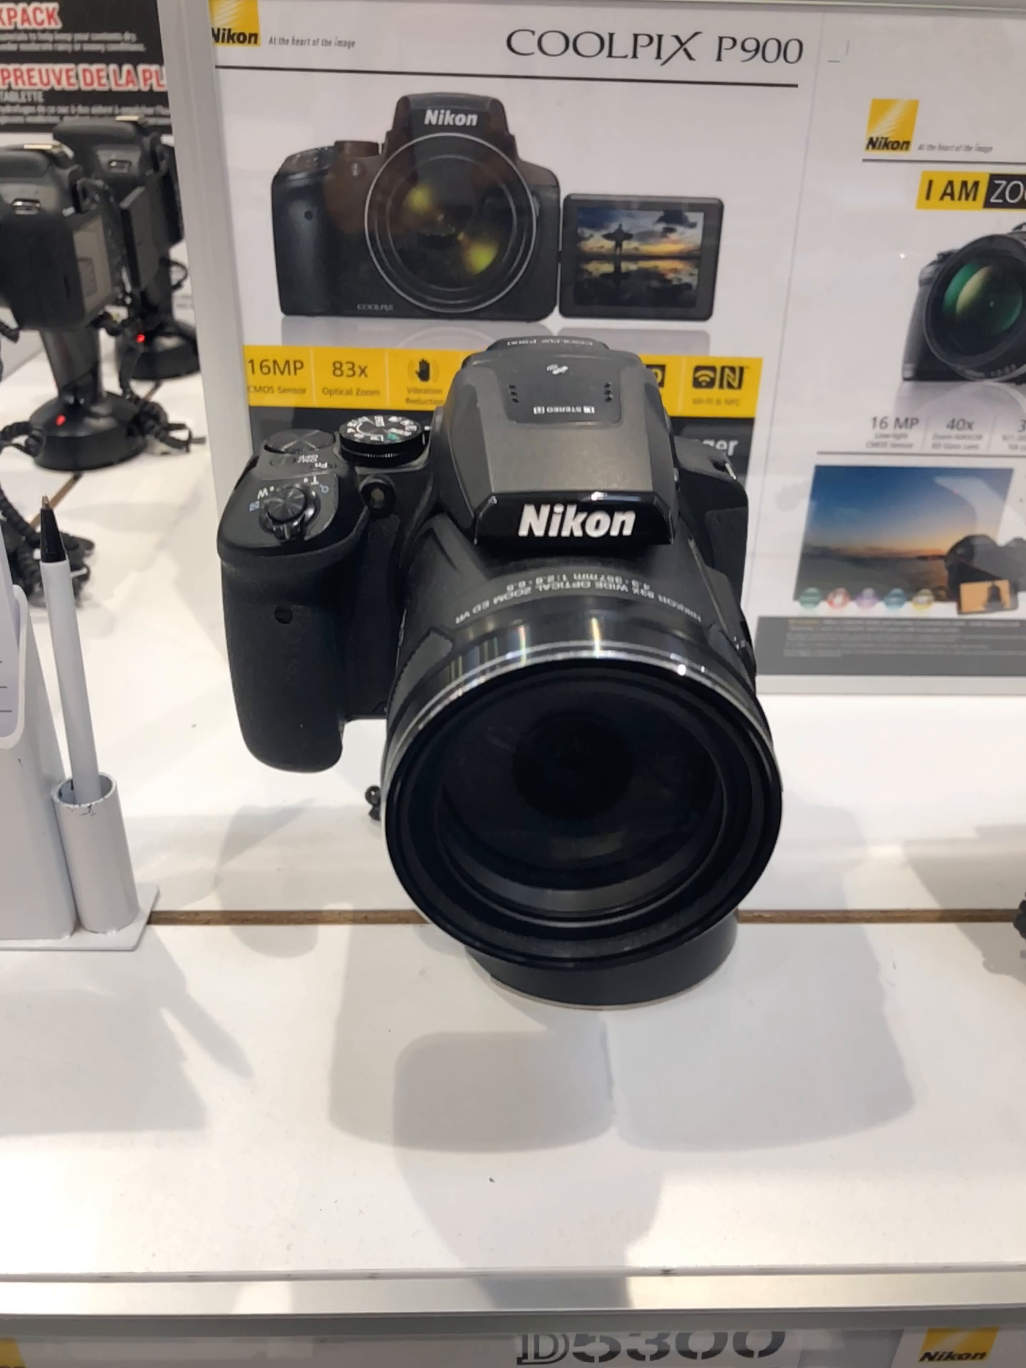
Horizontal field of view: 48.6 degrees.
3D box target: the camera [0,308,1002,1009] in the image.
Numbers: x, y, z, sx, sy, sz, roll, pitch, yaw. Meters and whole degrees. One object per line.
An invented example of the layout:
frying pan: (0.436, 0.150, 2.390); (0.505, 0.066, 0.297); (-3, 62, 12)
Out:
camera: (-0.003, -0.016, 0.255); (0.150, 0.099, 0.141); (0, 30, -1)
